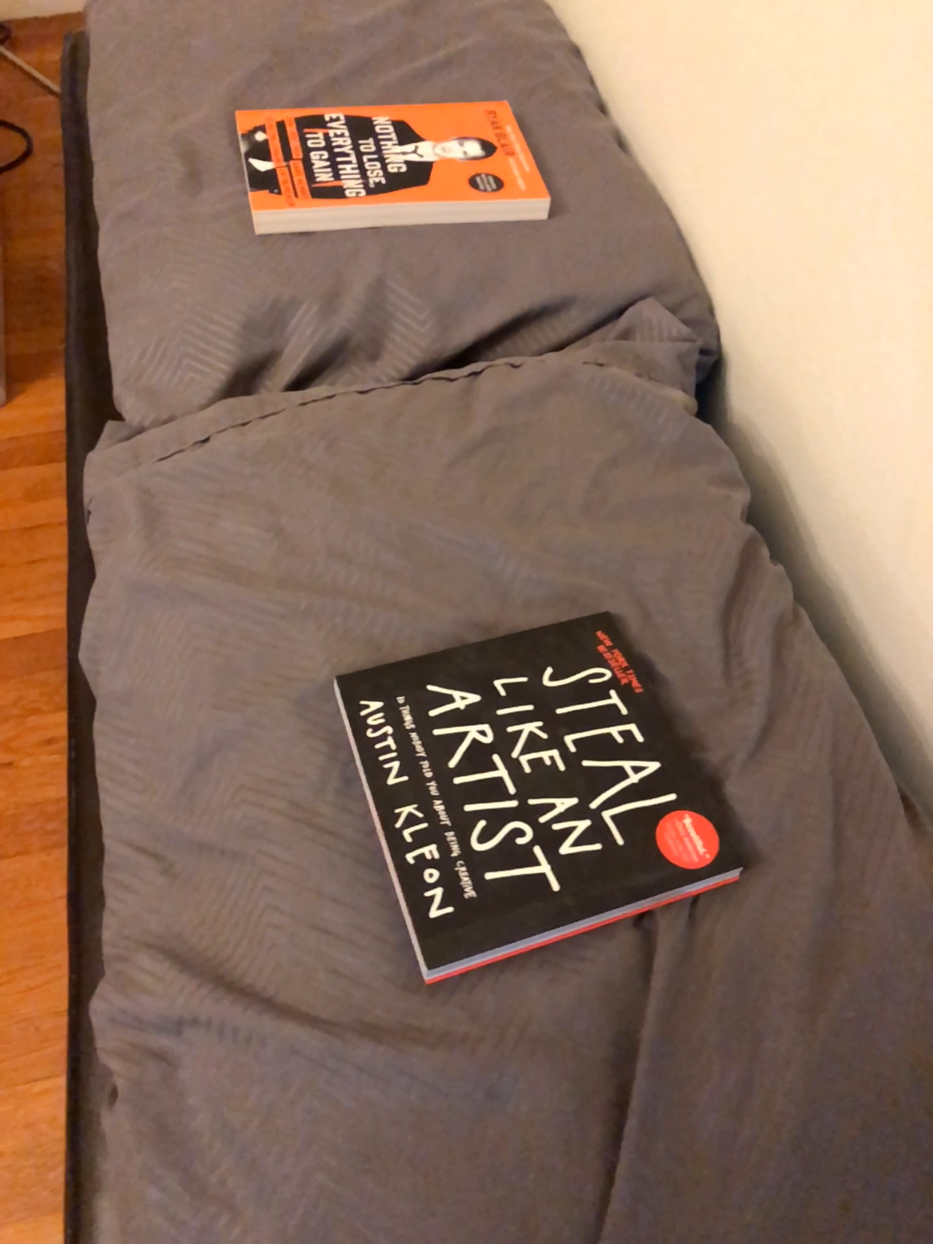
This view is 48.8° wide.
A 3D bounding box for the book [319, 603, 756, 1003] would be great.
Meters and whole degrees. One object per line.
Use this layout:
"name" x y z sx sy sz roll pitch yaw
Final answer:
"book" 0.028 0.076 0.493 0.160 0.020 0.161 -13 56 -14
